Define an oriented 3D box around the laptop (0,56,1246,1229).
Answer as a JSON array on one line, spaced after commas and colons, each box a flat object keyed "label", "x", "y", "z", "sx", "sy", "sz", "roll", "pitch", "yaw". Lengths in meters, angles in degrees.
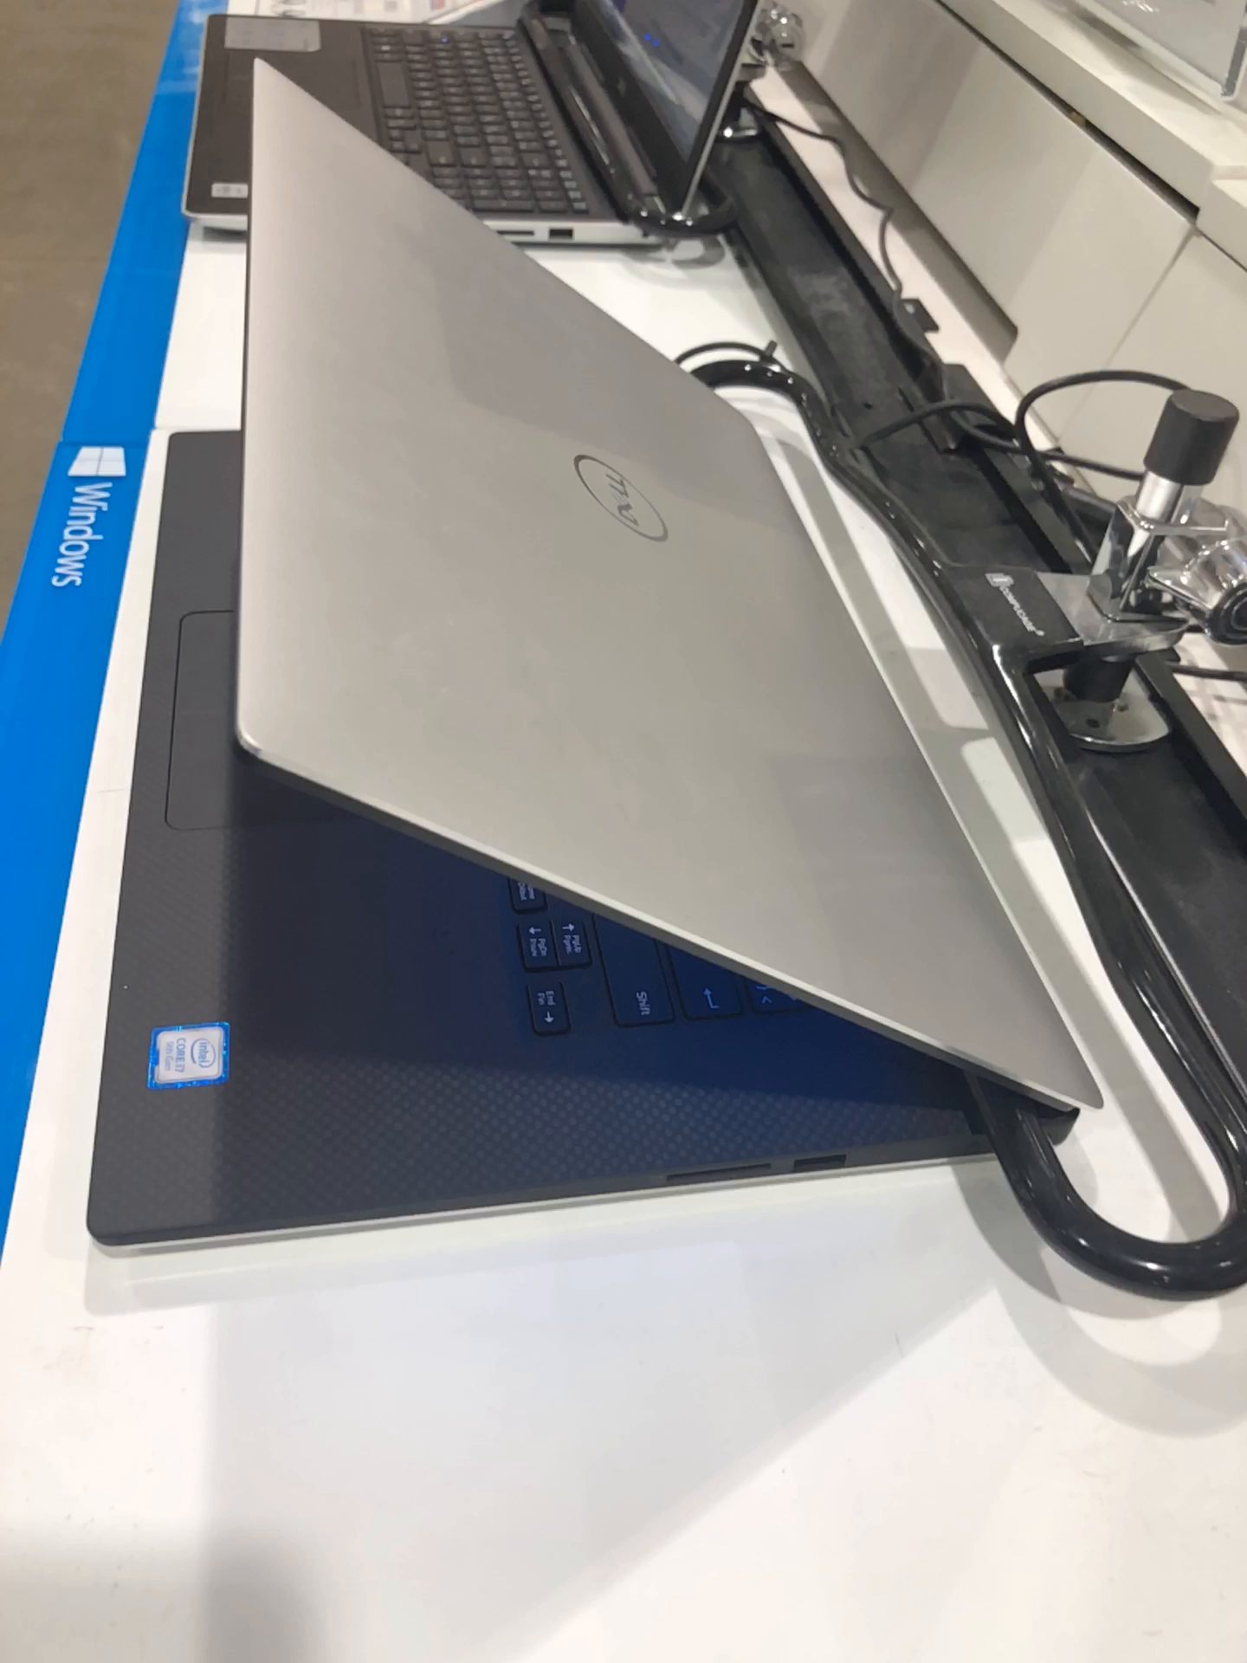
[{"label": "laptop", "x": -0.031, "y": -0.091, "z": 0.388, "sx": 0.216, "sy": 0.133, "sz": 0.347, "roll": -5, "pitch": 44, "yaw": -11}]
